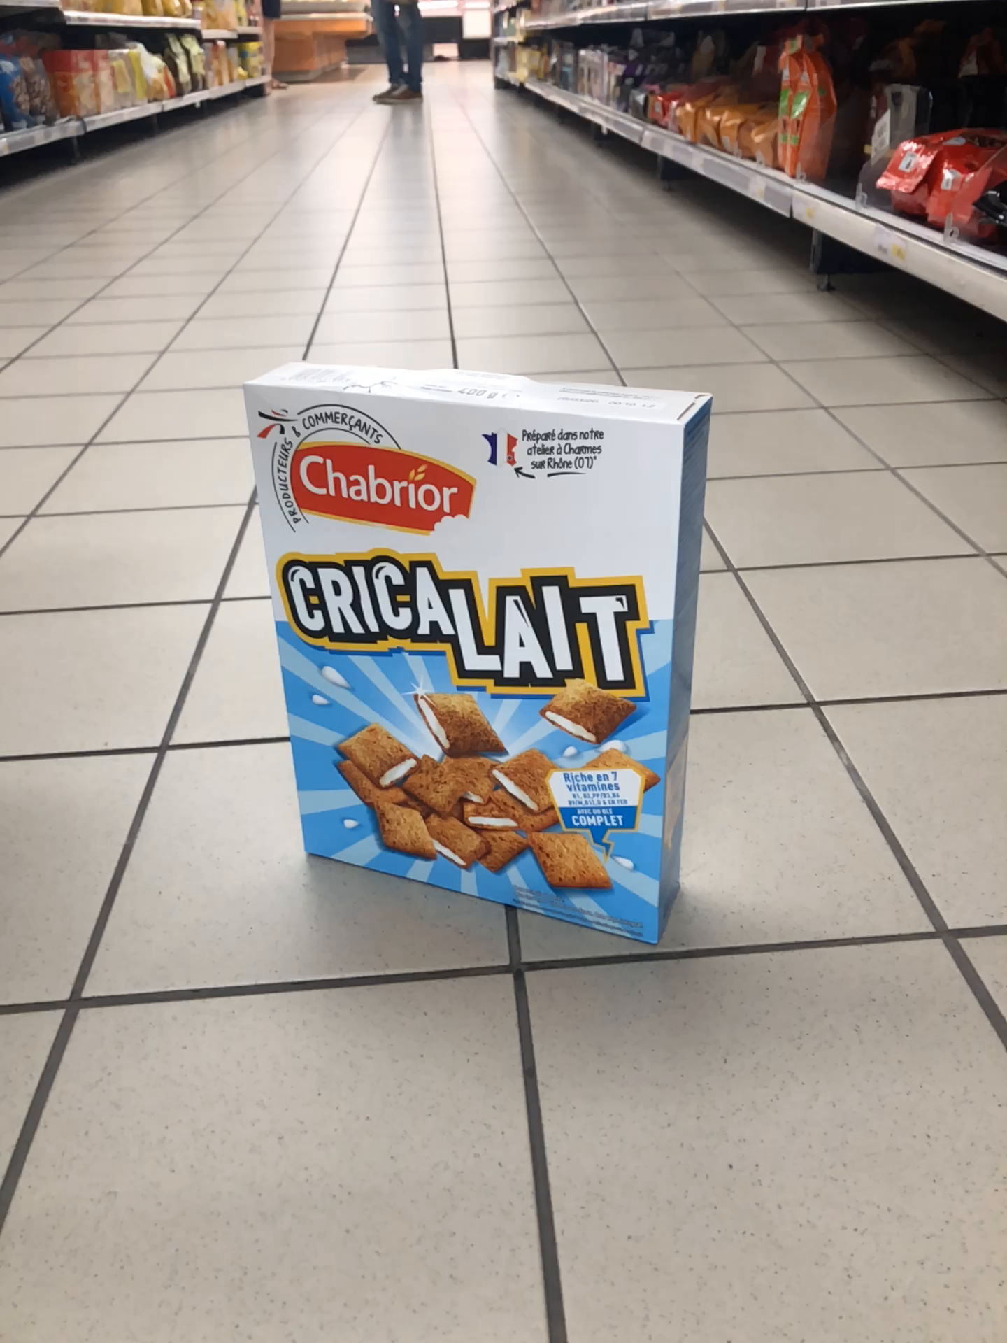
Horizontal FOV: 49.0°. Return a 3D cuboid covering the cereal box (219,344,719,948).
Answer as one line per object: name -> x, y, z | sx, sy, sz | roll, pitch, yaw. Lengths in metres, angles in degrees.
cereal box -> -0.013, -0.011, 0.504 | 0.200, 0.249, 0.050 | 10, 31, 22
